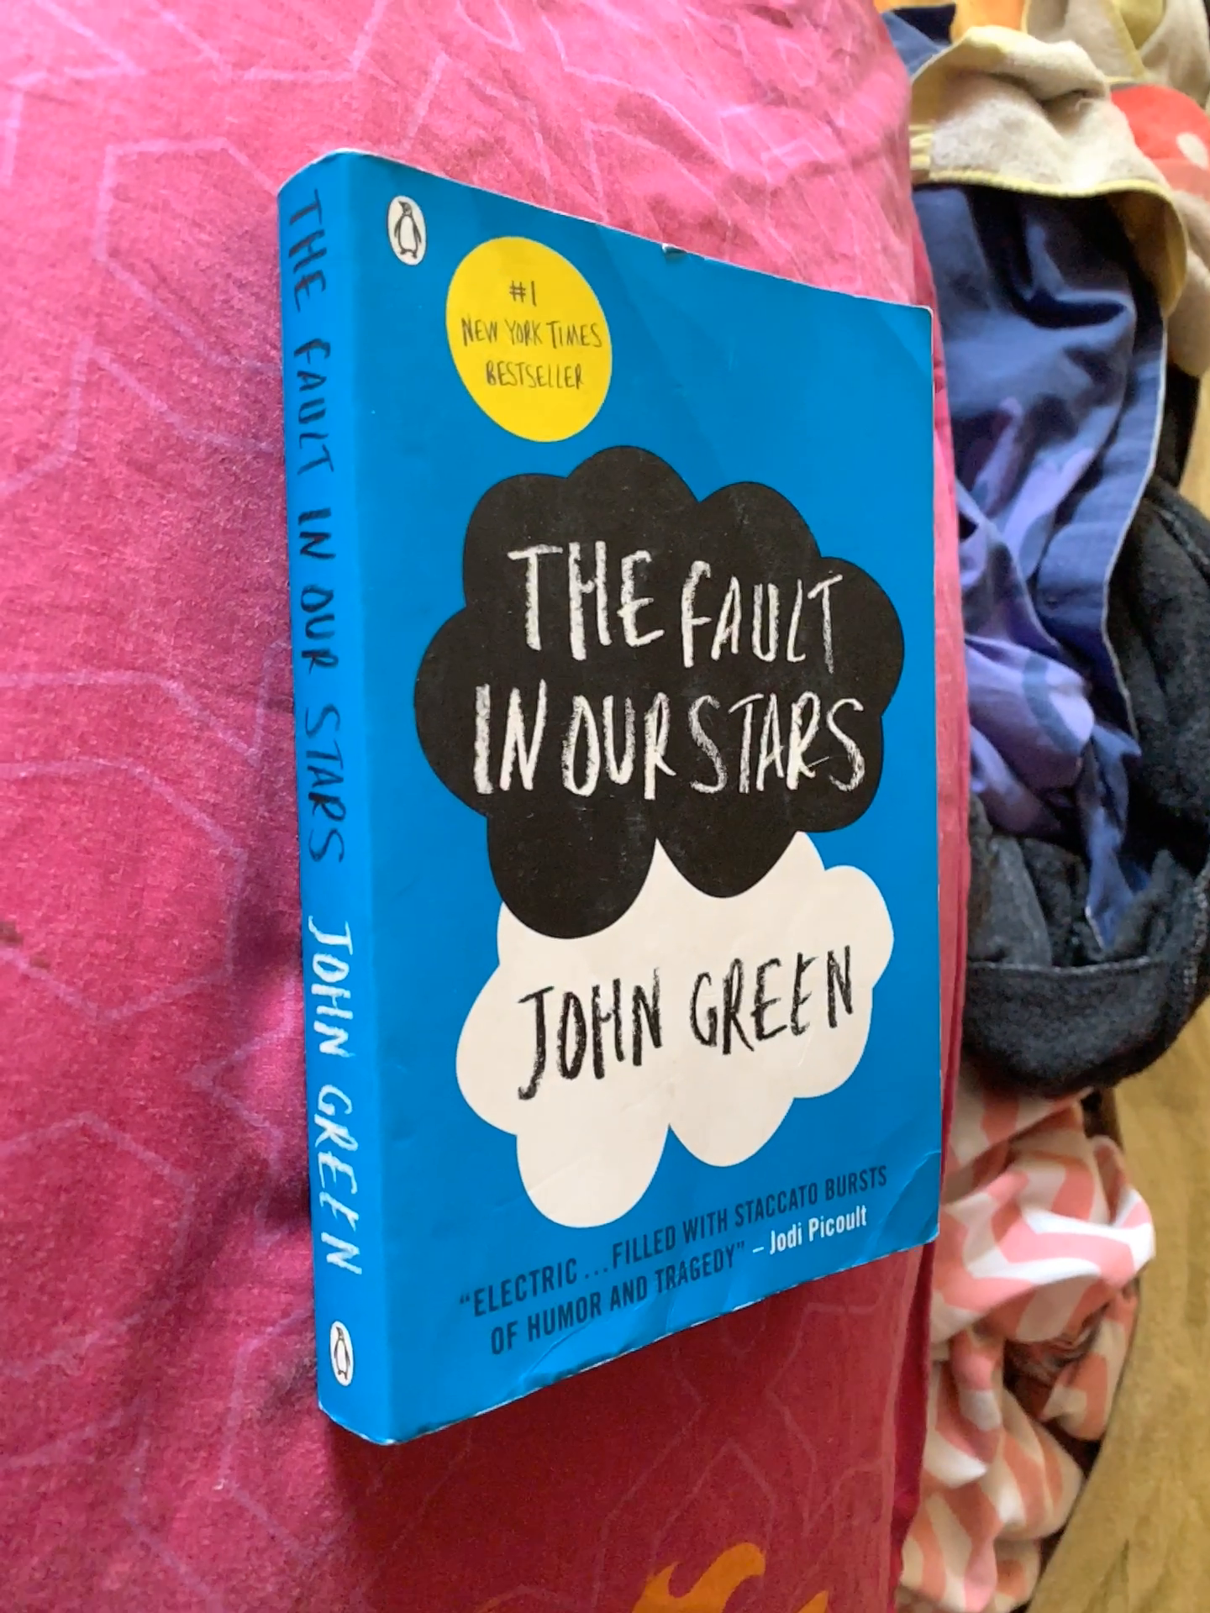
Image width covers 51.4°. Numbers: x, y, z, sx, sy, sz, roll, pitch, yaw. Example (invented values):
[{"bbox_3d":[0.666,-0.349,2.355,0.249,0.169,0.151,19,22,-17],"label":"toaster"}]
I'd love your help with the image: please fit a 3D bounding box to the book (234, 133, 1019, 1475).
[{"bbox_3d":[0.011,-0.004,0.218,0.130,0.030,0.179,-3,88,-37],"label":"book"}]
